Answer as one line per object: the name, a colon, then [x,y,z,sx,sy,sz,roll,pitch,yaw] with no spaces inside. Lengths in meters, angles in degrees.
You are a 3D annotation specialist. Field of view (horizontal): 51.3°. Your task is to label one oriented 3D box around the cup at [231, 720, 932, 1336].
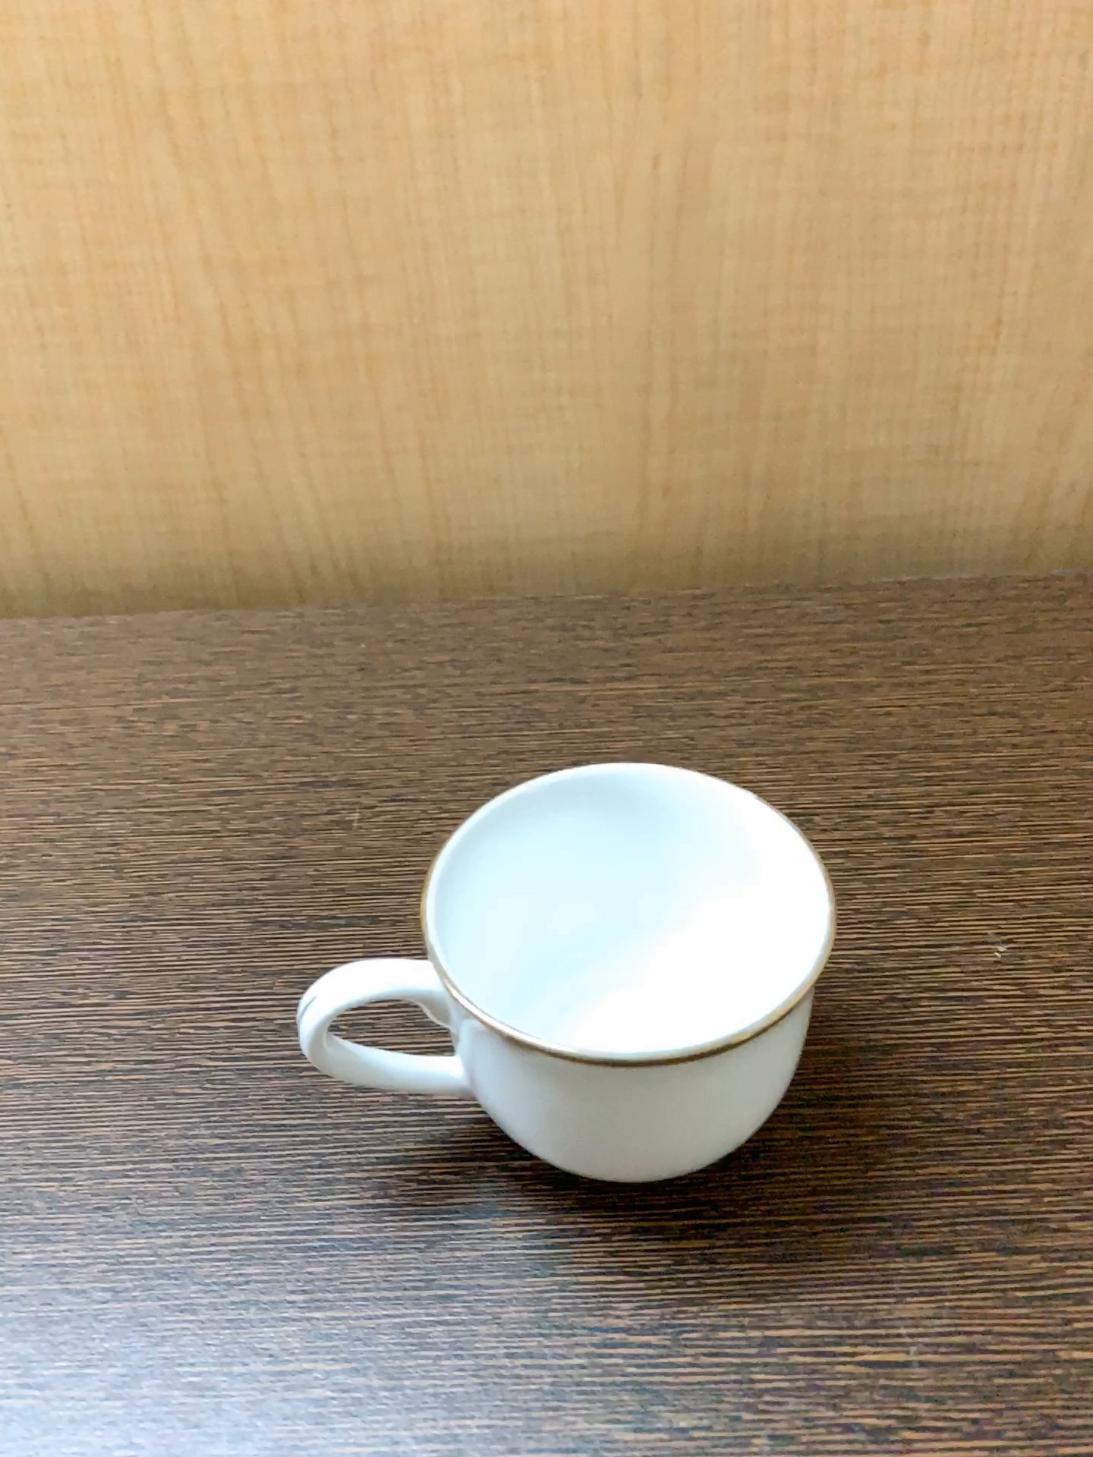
cup: [0.001,0.043,0.180,0.090,0.050,0.061,-9,36,-9]
